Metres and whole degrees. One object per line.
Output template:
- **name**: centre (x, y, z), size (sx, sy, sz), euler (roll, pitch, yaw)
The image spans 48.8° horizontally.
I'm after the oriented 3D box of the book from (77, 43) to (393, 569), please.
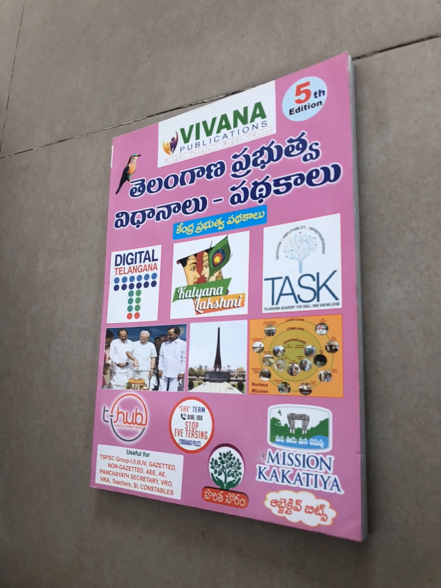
- **book**: centre (0.000, 0.003, 0.318), size (0.201, 0.040, 0.270), euler (-5, 78, 33)
